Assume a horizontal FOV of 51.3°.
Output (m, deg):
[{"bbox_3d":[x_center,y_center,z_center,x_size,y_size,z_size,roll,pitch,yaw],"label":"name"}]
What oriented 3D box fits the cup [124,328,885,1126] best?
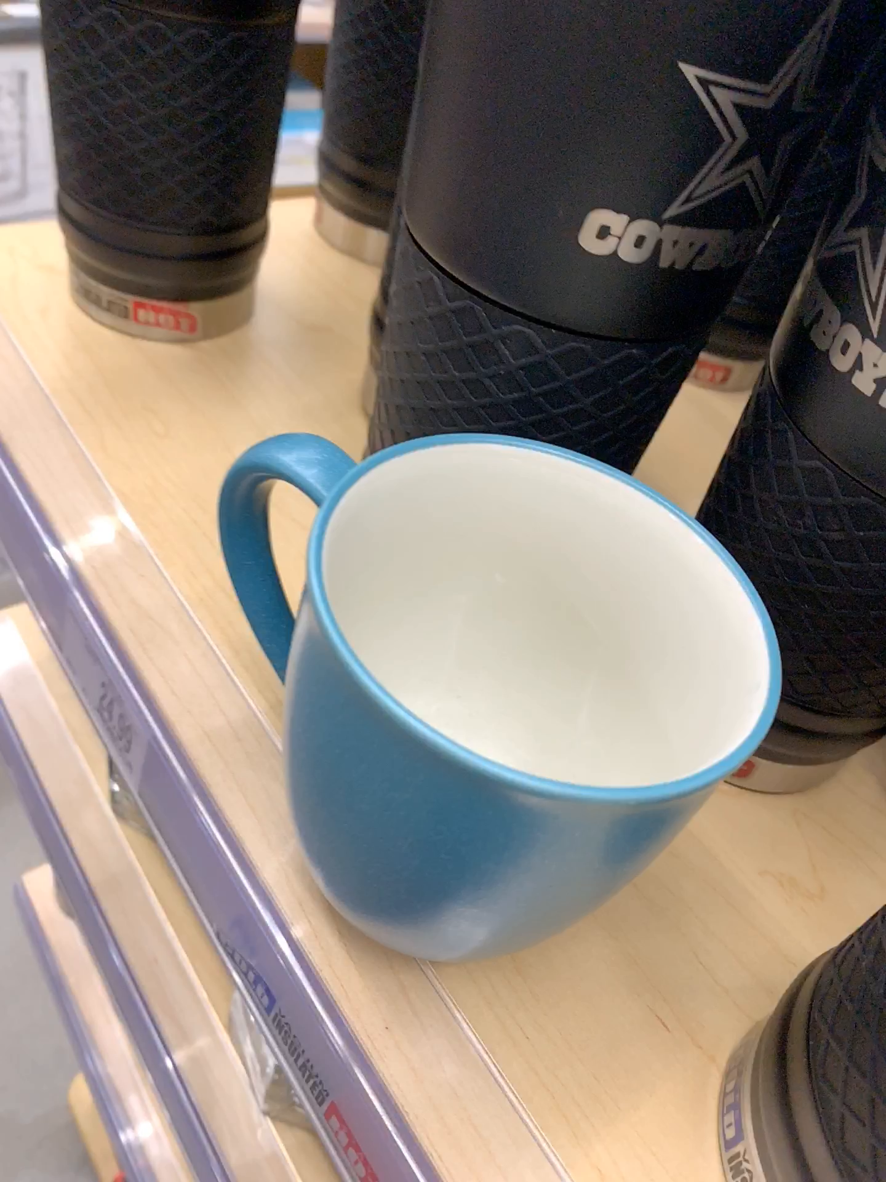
[{"bbox_3d":[0.004,0.020,0.197,0.090,0.084,0.116,-29,61,-37],"label":"cup"}]
